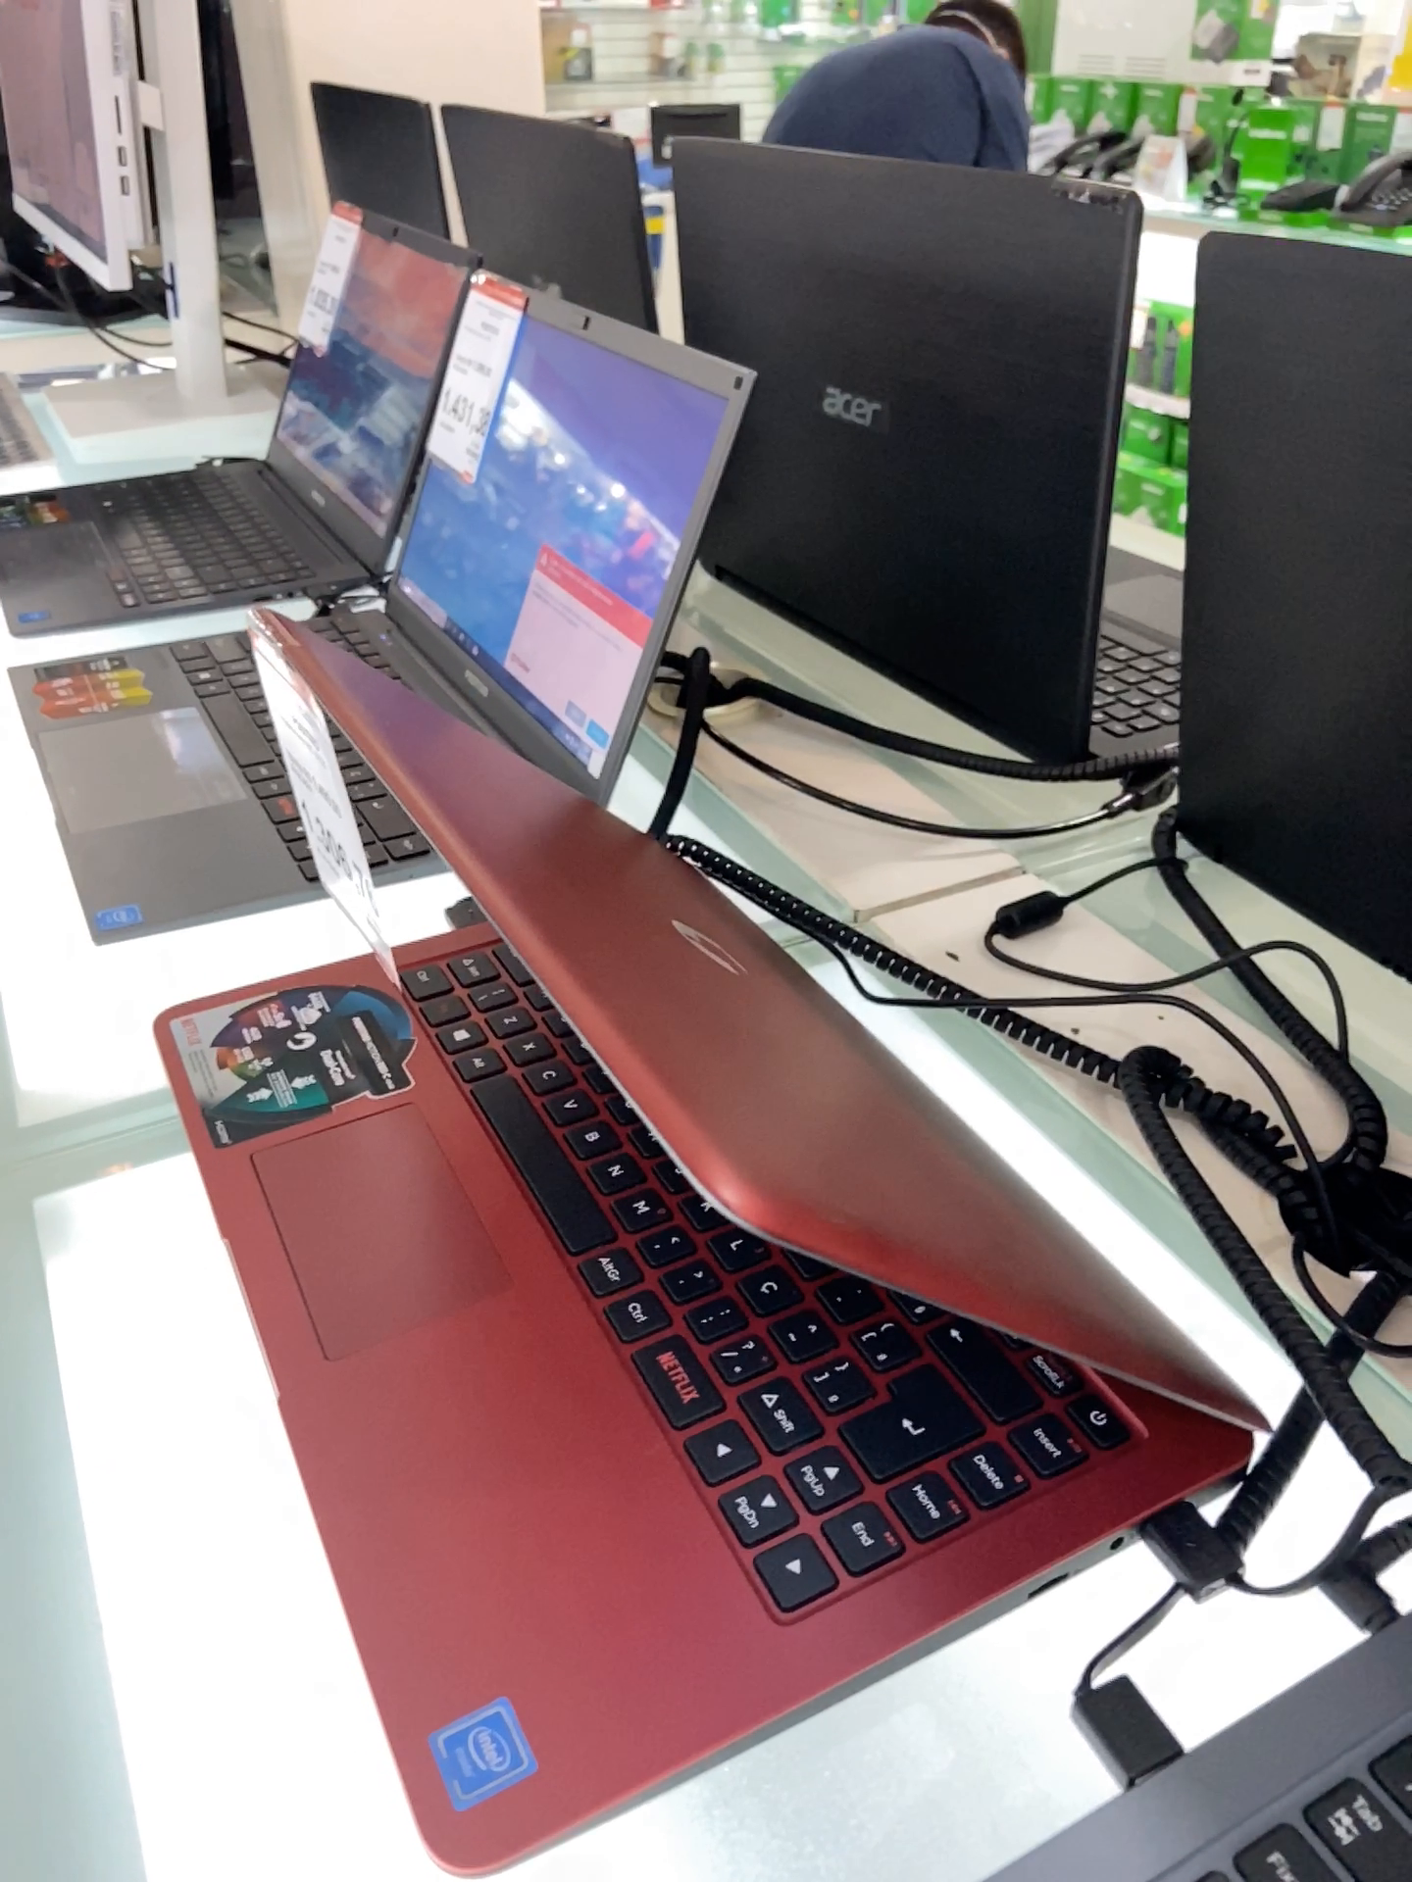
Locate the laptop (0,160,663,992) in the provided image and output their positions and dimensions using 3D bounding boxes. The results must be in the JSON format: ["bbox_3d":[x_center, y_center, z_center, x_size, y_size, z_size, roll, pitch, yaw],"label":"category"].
[{"bbox_3d":[-0.178,-0.195,0.655,0.286,0.159,0.235,-24,50,-30],"label":"laptop"}]

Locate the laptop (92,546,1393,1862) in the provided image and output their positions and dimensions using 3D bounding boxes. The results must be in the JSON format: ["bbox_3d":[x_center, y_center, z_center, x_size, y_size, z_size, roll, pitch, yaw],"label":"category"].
[{"bbox_3d":[-0.025,0.016,0.411,0.212,0.144,0.321,-15,35,-23],"label":"laptop"}]

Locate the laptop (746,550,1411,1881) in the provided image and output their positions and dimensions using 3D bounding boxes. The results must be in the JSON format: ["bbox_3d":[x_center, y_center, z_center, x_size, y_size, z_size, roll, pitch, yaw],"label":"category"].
[{"bbox_3d":[0.203,0.171,0.100,0.277,0.207,0.386,-20,39,-24],"label":"laptop"}]
